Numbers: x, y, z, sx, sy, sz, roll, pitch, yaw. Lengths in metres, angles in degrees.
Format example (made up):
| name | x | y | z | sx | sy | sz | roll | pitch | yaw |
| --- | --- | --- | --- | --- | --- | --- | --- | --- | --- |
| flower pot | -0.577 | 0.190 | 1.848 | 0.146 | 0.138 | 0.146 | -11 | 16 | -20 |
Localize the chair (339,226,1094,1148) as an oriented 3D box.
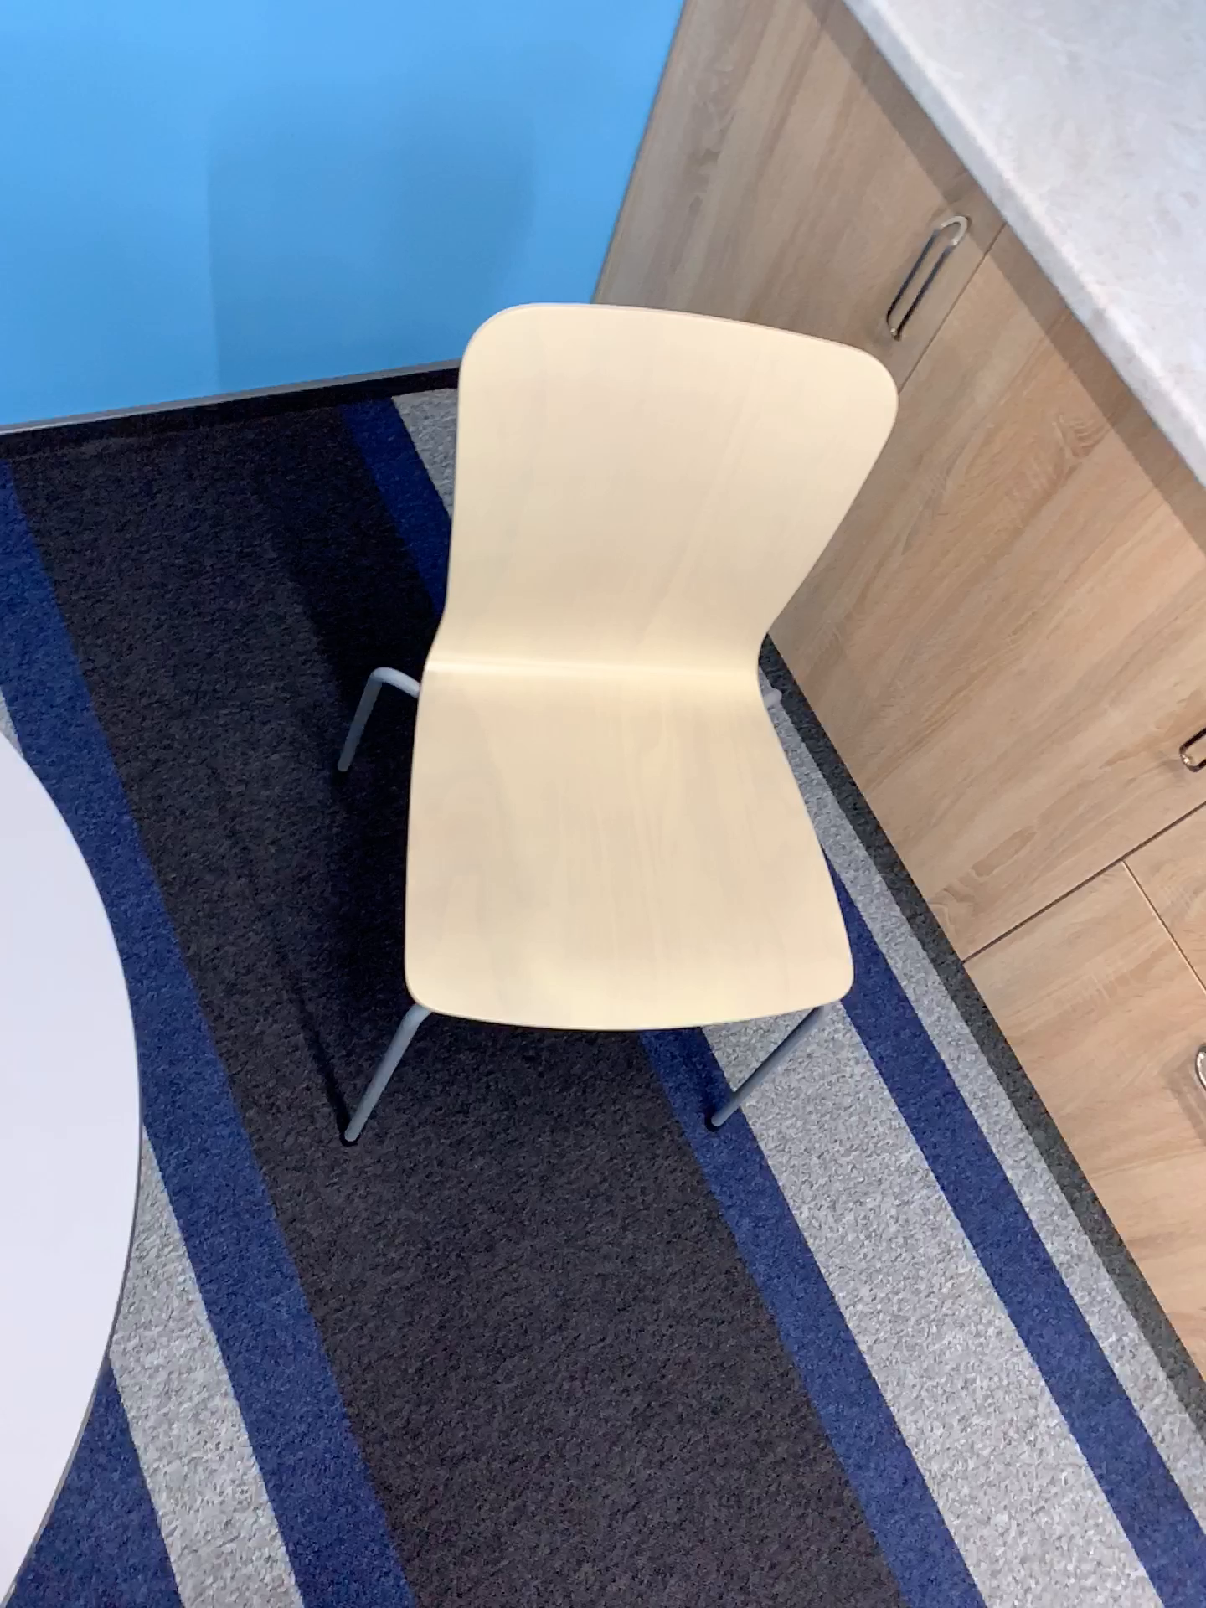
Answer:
| name | x | y | z | sx | sy | sz | roll | pitch | yaw |
| --- | --- | --- | --- | --- | --- | --- | --- | --- | --- |
| chair | -0.006 | -0.025 | 1.313 | 0.477 | 0.837 | 0.571 | 2 | 62 | -16 |
